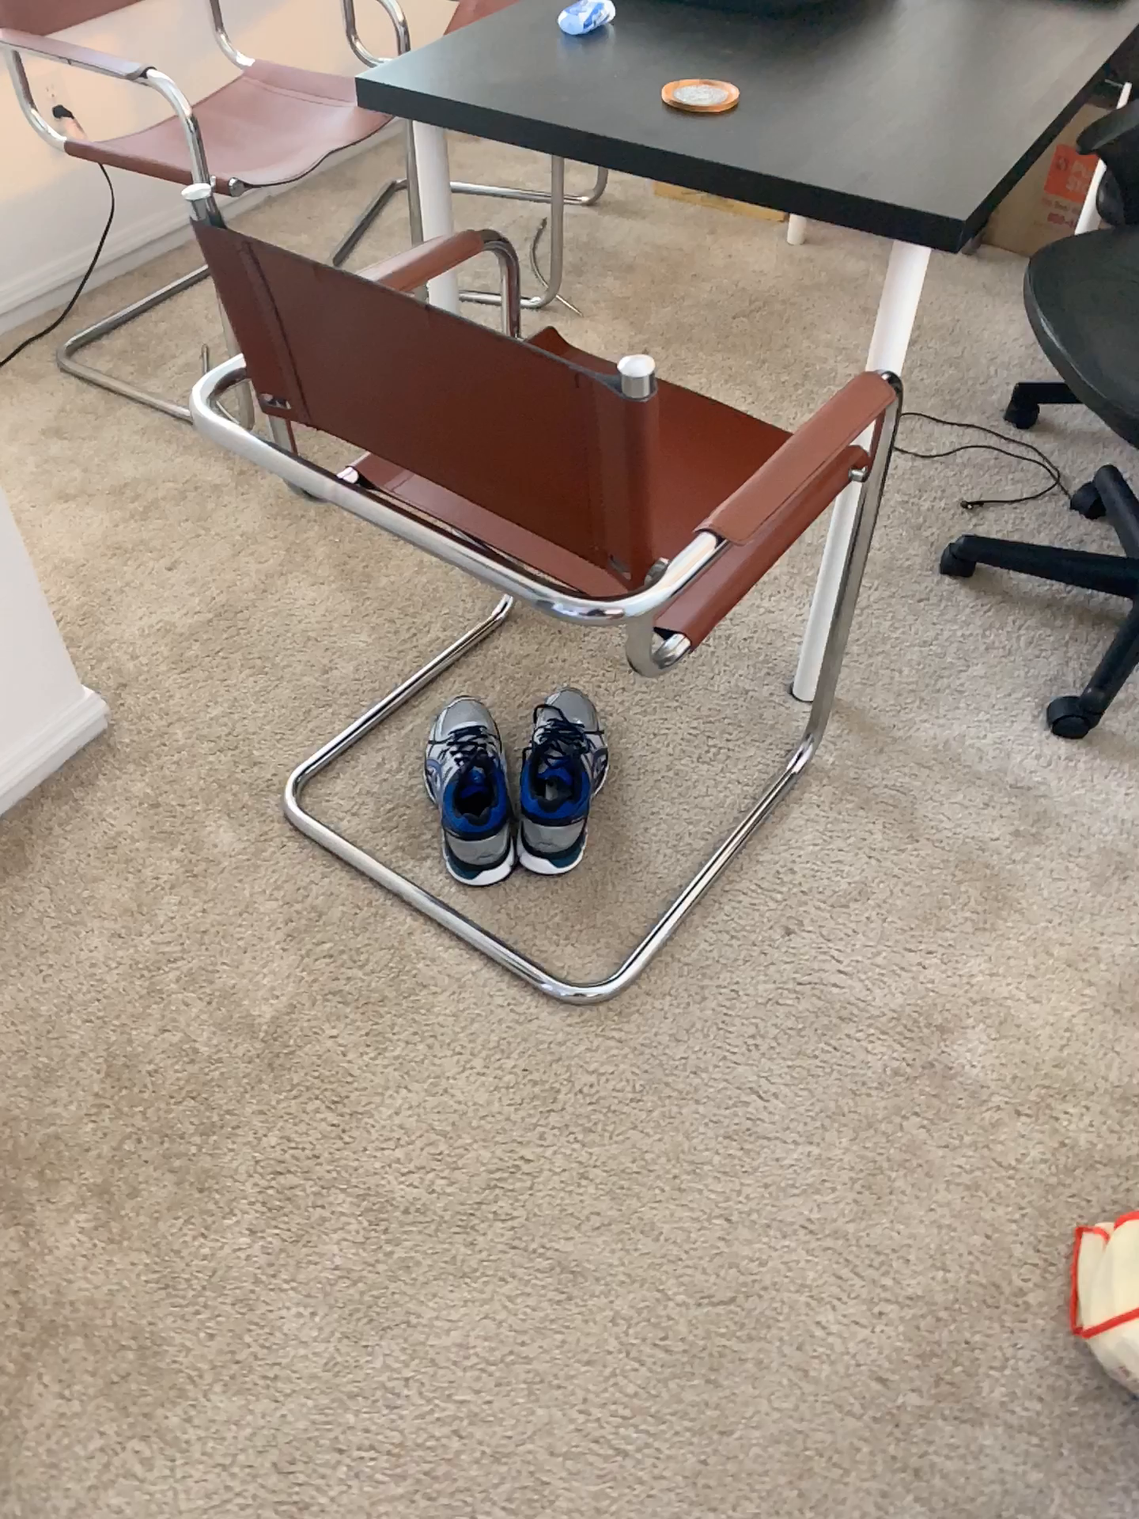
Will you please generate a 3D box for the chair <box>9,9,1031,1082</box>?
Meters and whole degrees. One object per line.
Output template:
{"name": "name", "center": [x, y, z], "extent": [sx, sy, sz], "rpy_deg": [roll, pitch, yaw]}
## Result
{"name": "chair", "center": [-0.030, -0.236, 1.287], "extent": [0.622, 0.806, 0.621], "rpy_deg": [30, 53, 23]}
